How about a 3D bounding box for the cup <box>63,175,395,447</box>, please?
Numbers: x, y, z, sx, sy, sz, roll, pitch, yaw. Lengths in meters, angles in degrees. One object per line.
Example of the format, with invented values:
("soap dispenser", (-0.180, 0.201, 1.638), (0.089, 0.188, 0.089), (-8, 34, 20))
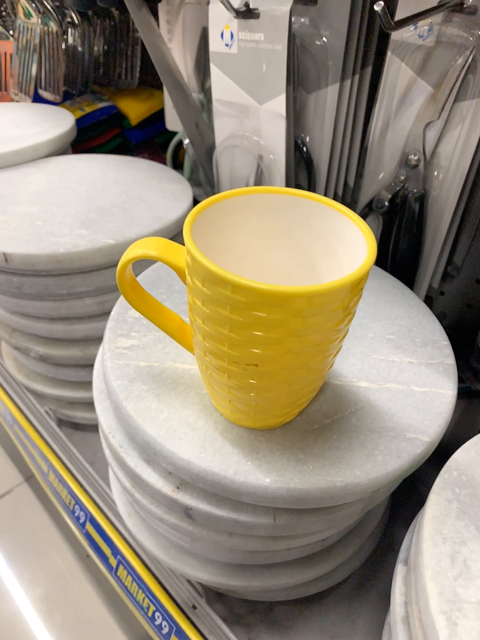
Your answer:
("cup", (-0.004, -0.006, 0.243), (0.120, 0.090, 0.090), (3, 38, 0))
